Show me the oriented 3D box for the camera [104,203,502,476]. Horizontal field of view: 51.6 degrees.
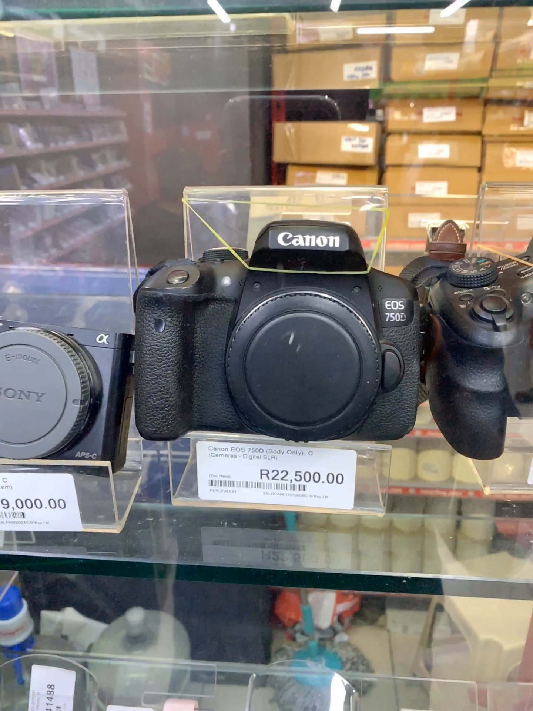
[{"bbox_3d":[0.011,-0.010,0.229,0.130,0.090,0.070,2,22,-1],"label":"camera"}]
